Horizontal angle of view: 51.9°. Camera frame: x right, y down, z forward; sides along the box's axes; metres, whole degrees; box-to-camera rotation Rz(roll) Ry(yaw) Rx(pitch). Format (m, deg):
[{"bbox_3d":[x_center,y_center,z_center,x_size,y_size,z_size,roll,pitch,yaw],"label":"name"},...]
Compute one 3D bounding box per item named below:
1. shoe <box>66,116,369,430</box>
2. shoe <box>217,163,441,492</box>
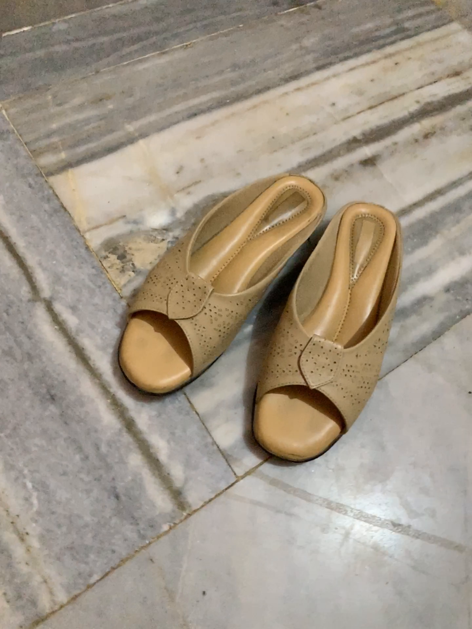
[{"bbox_3d":[-0.003,-0.047,0.414,0.095,0.070,0.273,35,64,10],"label":"shoe"},{"bbox_3d":[0.085,0.000,0.410,0.095,0.070,0.260,24,63,5],"label":"shoe"}]
